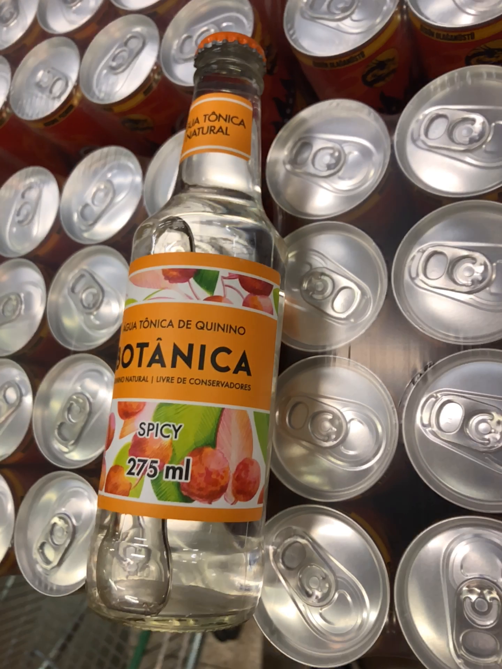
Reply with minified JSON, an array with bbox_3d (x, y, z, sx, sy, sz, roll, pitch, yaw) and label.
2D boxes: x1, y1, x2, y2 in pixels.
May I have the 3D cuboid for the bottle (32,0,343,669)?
[{"bbox_3d":[-0.015,-0.016,0.186,0.070,0.050,0.210,0,81,25],"label":"bottle"}]
